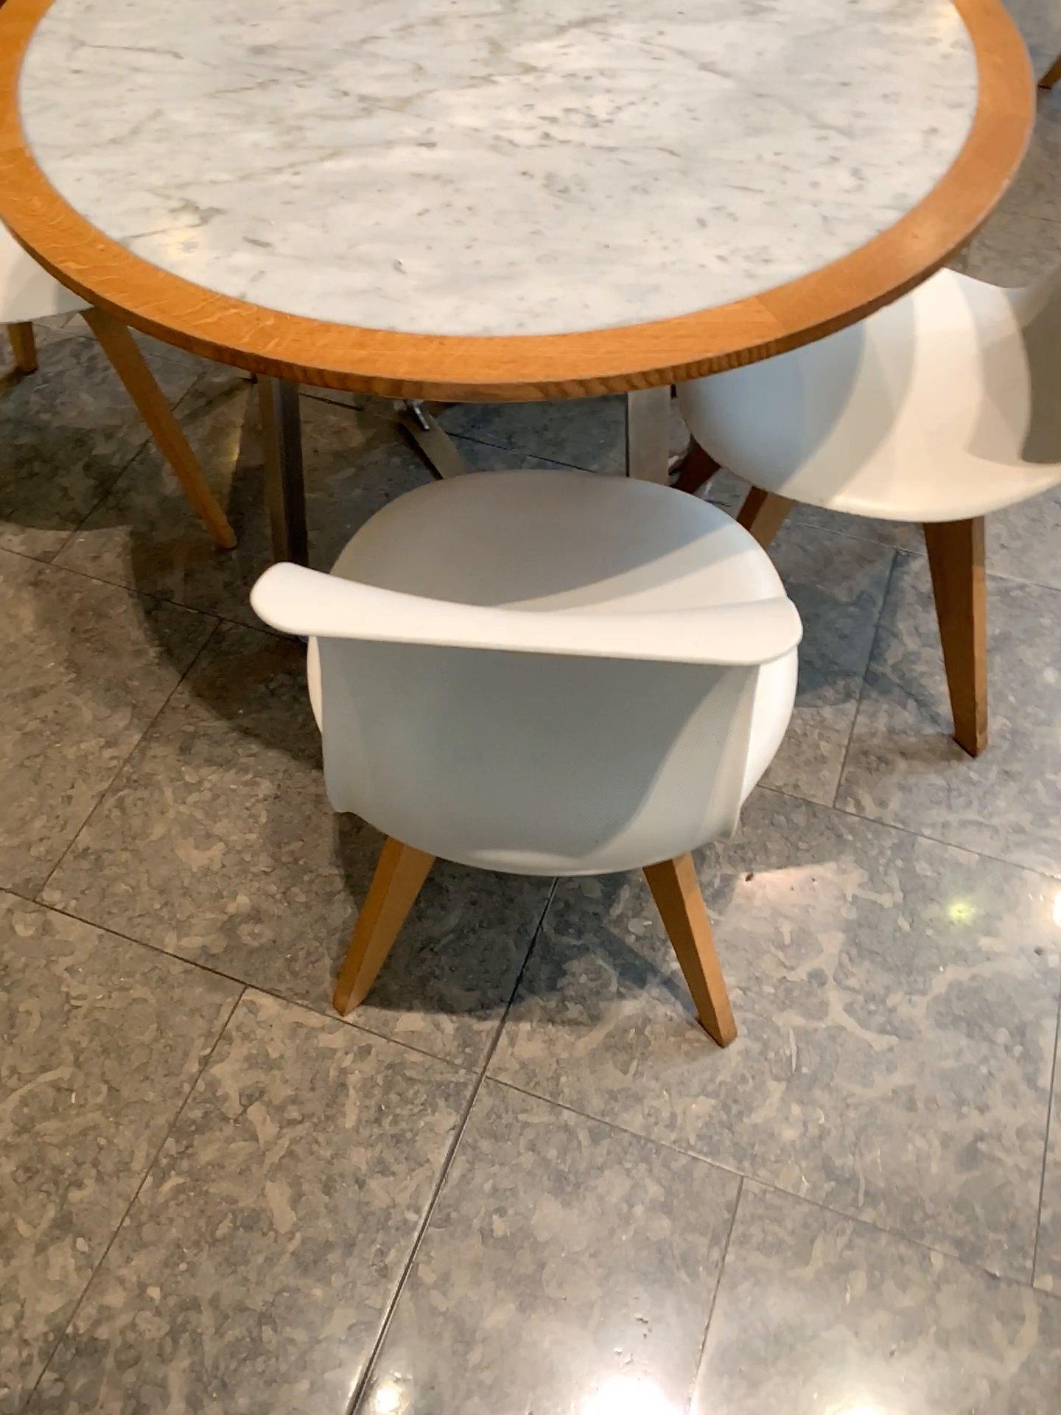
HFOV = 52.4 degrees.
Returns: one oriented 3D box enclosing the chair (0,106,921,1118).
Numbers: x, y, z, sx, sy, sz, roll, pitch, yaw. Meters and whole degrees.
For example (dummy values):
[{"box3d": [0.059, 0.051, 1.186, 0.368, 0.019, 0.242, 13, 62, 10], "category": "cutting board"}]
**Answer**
[{"box3d": [-0.022, 0.006, 1.091, 0.500, 0.913, 0.544, 4, 57, 3], "category": "chair"}]
